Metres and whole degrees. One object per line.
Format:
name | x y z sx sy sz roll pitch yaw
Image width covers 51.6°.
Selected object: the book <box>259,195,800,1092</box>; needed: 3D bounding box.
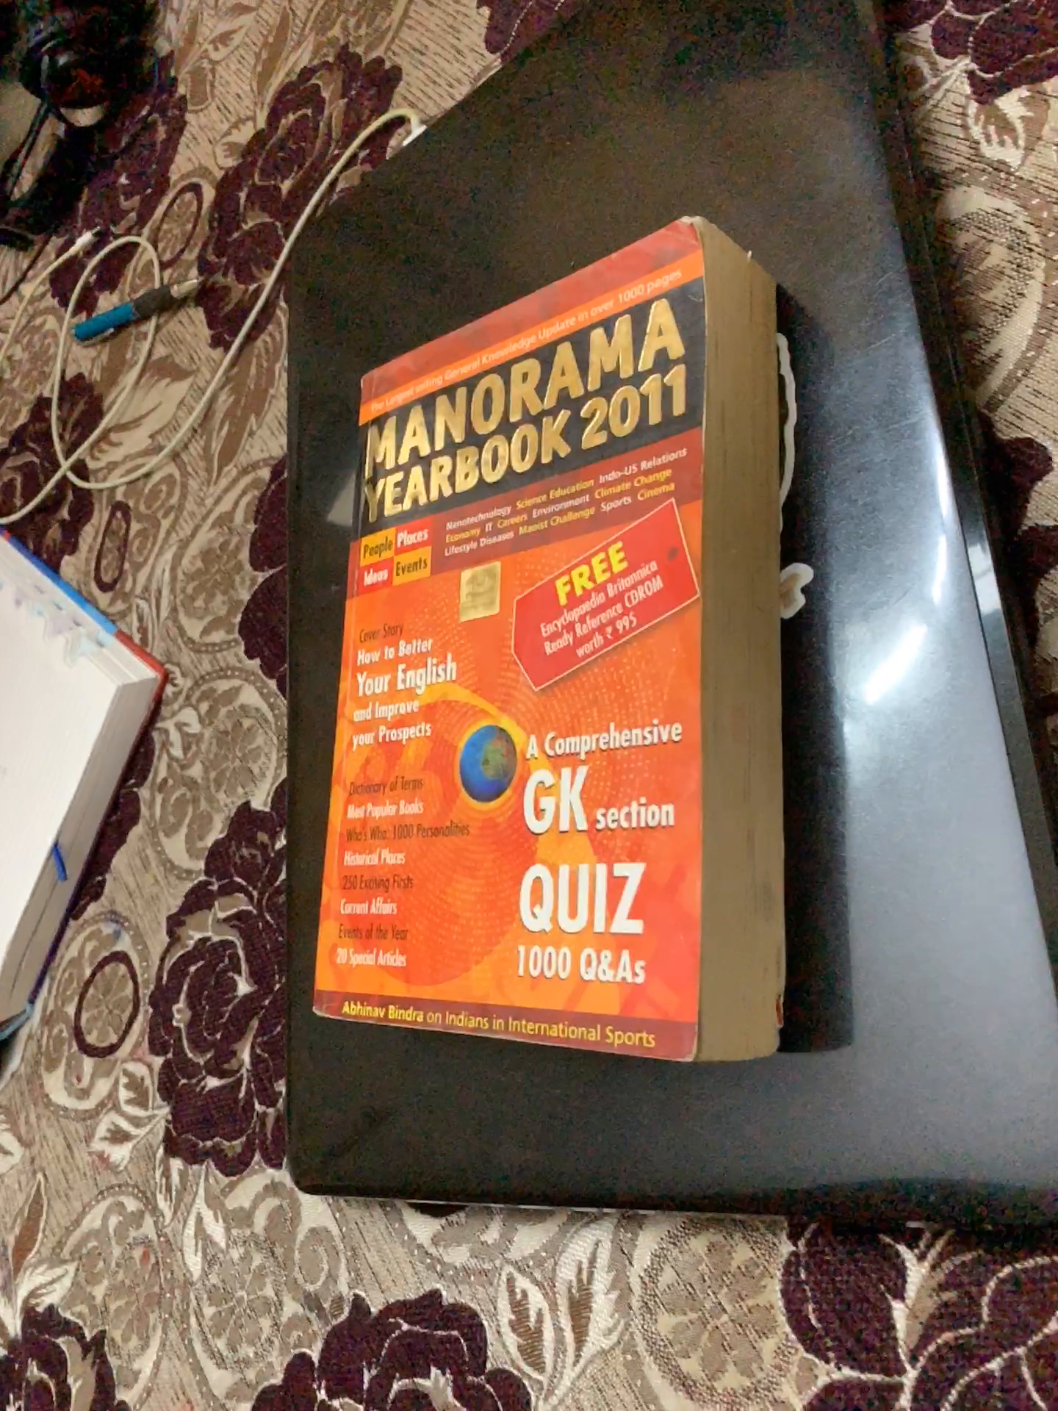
book | -0.001 -0.011 0.308 0.141 0.050 0.210 -8 72 39
